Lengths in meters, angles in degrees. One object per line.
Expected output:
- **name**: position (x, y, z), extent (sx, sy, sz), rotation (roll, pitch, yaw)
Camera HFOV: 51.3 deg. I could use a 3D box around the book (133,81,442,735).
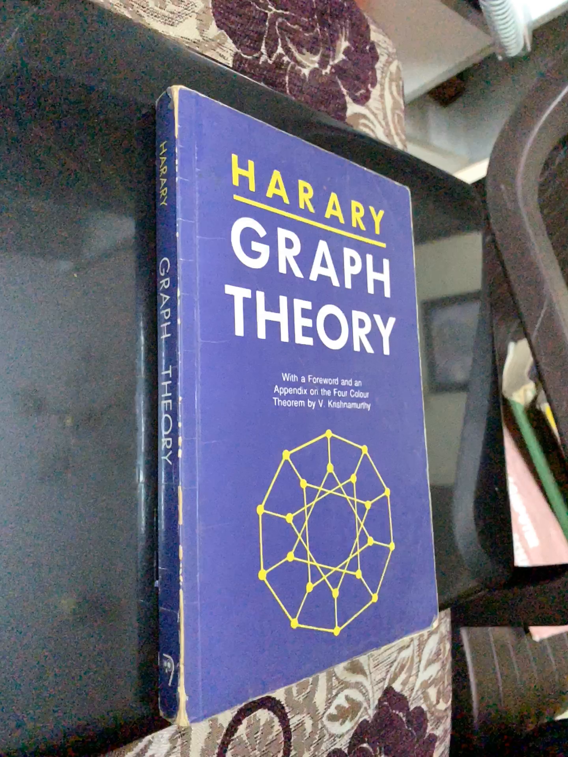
- **book**: position (0.009, 0.007, 0.235), extent (0.141, 0.020, 0.200), rotation (5, 80, -43)
